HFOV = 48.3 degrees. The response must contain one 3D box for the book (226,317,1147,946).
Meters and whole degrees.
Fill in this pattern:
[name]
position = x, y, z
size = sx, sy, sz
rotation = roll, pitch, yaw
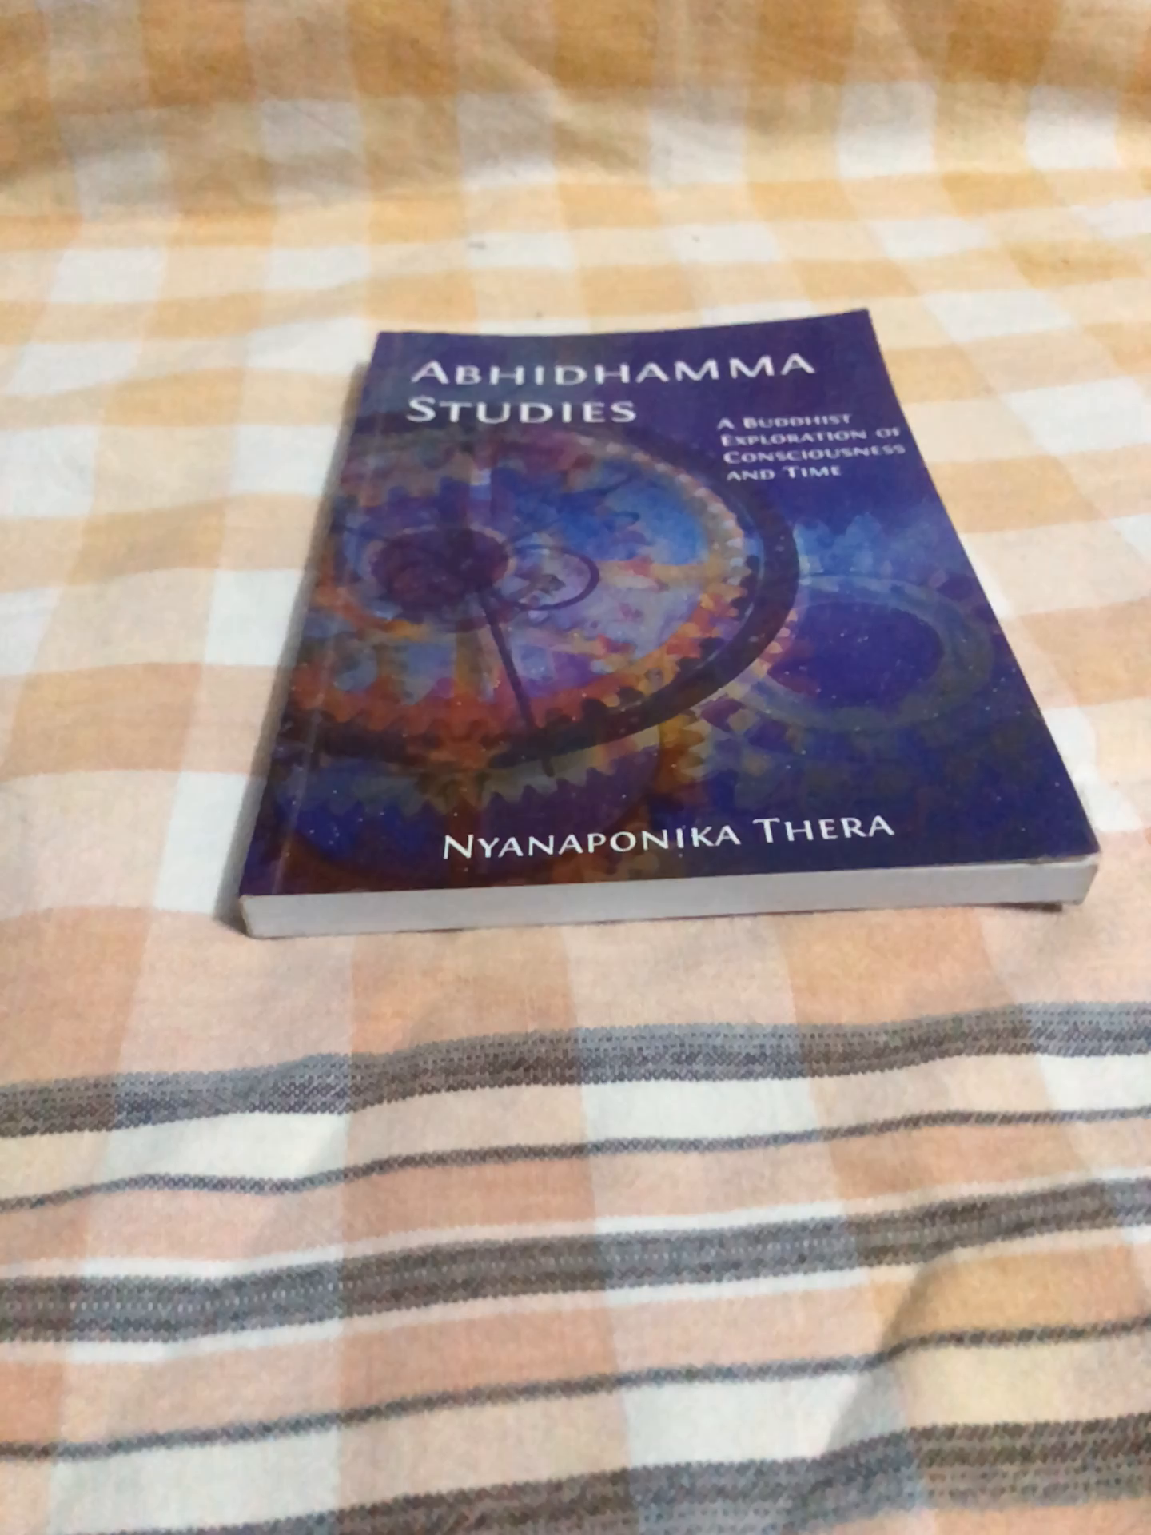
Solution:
[book]
position = 0.017, -0.049, 0.293
size = 0.150, 0.020, 0.211
rotation = -1, 42, -1
